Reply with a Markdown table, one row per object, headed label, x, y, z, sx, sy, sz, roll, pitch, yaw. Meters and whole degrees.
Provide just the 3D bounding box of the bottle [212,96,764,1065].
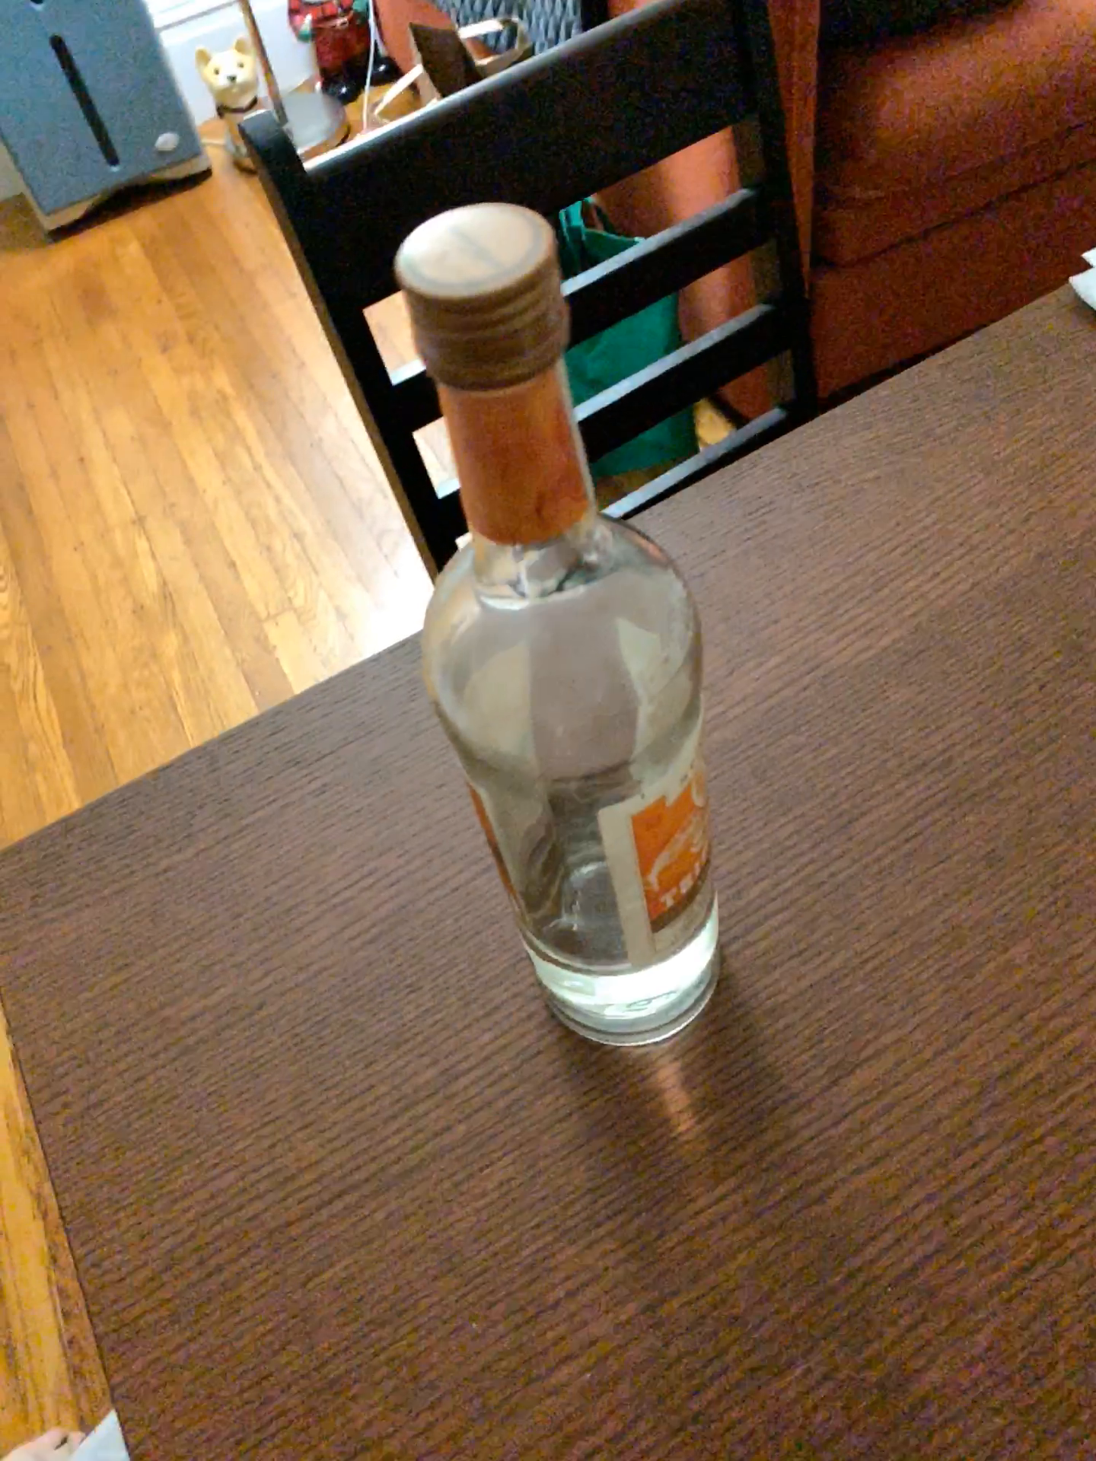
| label | x | y | z | sx | sy | sz | roll | pitch | yaw |
| --- | --- | --- | --- | --- | --- | --- | --- | --- | --- |
| bottle | 0.014 | -0.004 | 0.322 | 0.080 | 0.299 | 0.090 | 6 | 57 | 14 |
